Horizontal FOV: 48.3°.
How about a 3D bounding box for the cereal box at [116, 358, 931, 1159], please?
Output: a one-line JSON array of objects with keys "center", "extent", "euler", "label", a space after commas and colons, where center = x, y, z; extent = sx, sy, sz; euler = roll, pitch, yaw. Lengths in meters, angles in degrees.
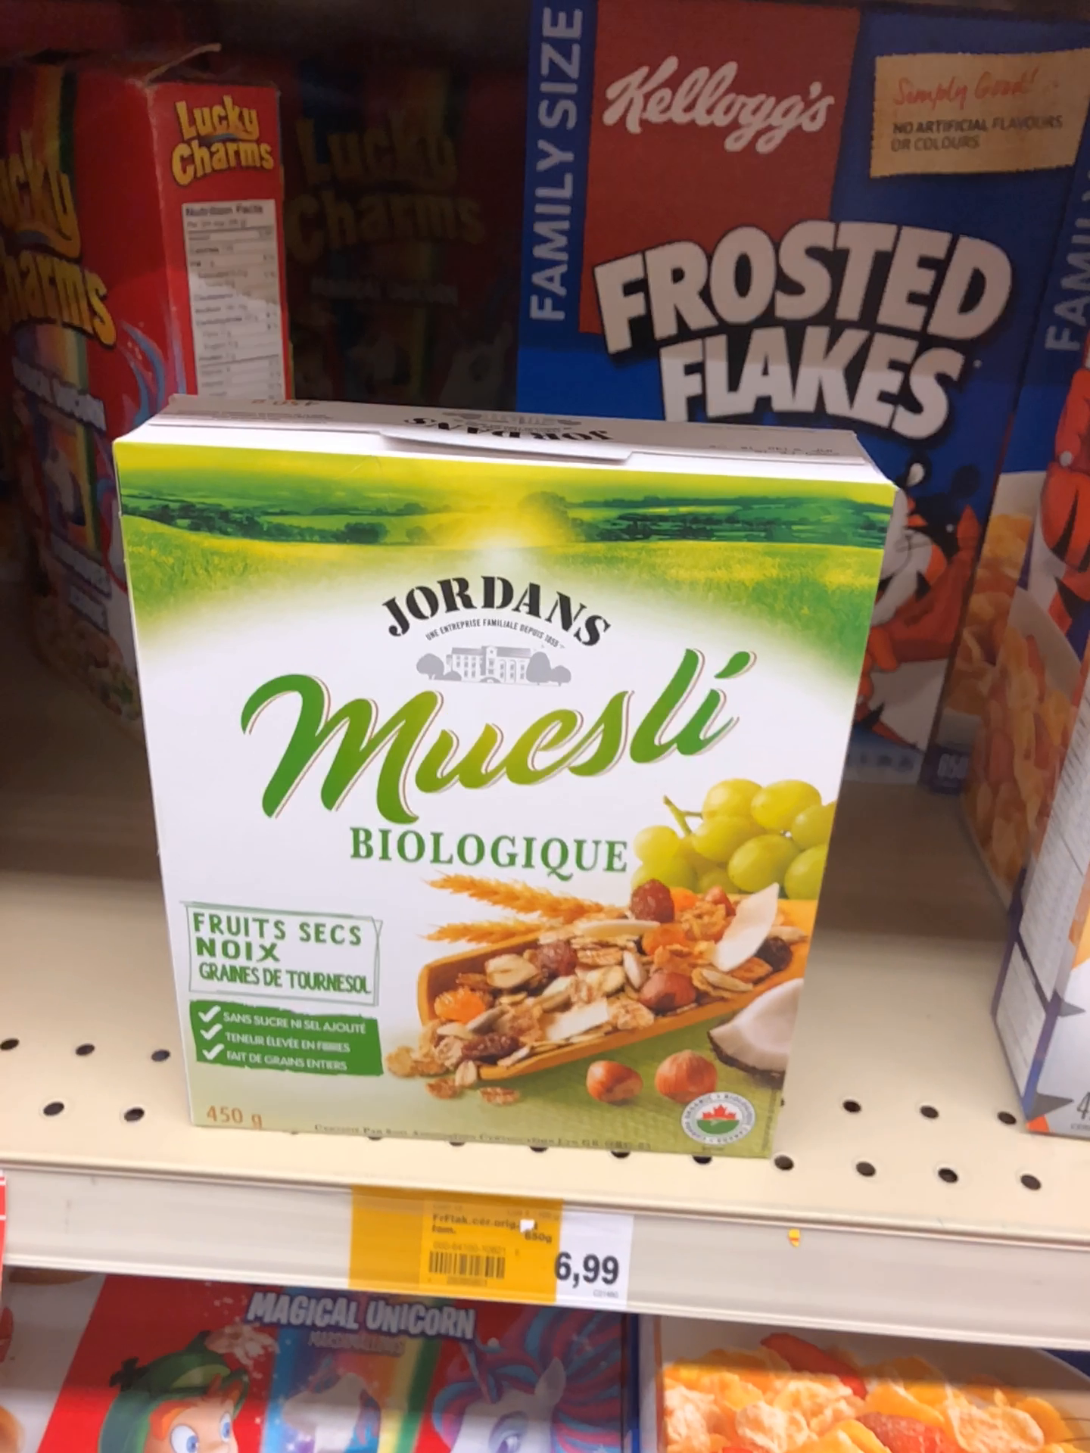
[{"center": [-0.010, 0.019, 0.342], "extent": [0.180, 0.218, 0.050], "euler": [4, 29, 0], "label": "cereal box"}]
